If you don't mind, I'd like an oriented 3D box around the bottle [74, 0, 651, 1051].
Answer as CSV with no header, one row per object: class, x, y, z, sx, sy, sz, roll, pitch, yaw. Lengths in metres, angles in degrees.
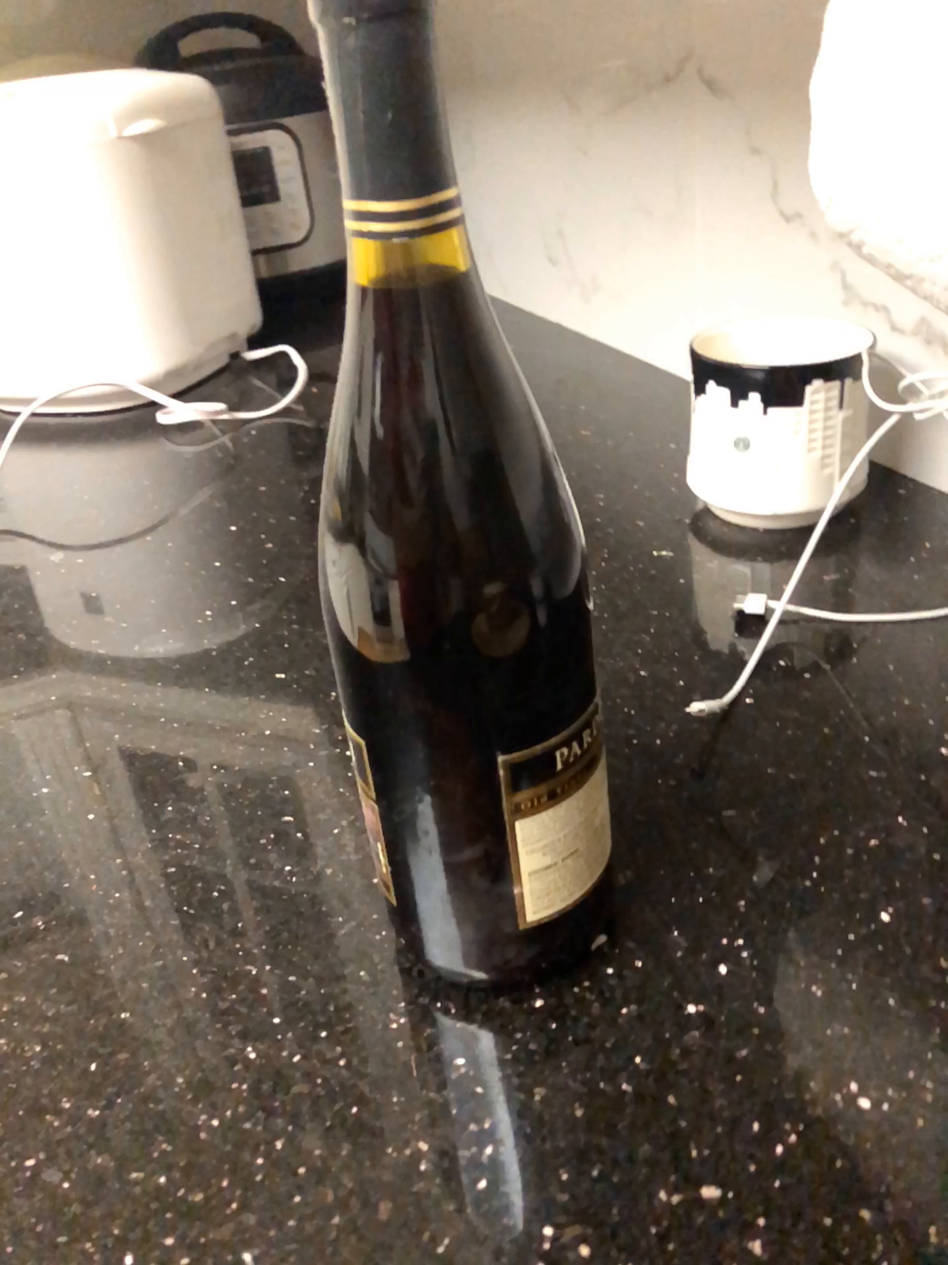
bottle,-0.007,-0.025,0.306,0.090,0.298,0.090,-6,30,3
